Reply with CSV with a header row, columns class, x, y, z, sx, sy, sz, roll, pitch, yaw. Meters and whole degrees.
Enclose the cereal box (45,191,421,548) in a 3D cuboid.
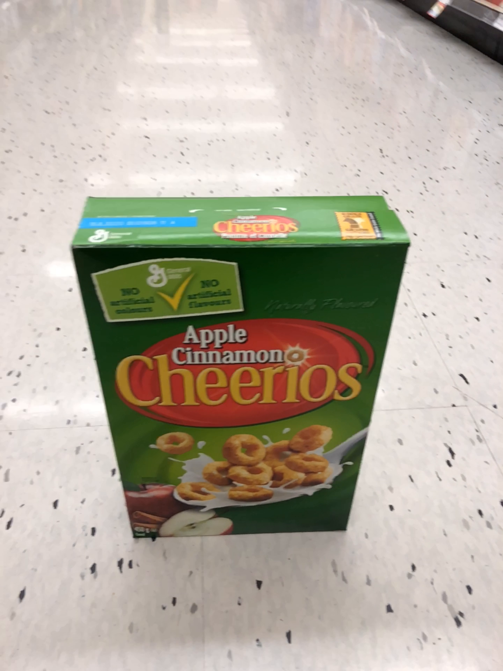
class,x,y,z,sx,sy,sz,roll,pitch,yaw
cereal box,-0.012,0.043,0.389,0.190,0.278,0.060,-1,39,-4
